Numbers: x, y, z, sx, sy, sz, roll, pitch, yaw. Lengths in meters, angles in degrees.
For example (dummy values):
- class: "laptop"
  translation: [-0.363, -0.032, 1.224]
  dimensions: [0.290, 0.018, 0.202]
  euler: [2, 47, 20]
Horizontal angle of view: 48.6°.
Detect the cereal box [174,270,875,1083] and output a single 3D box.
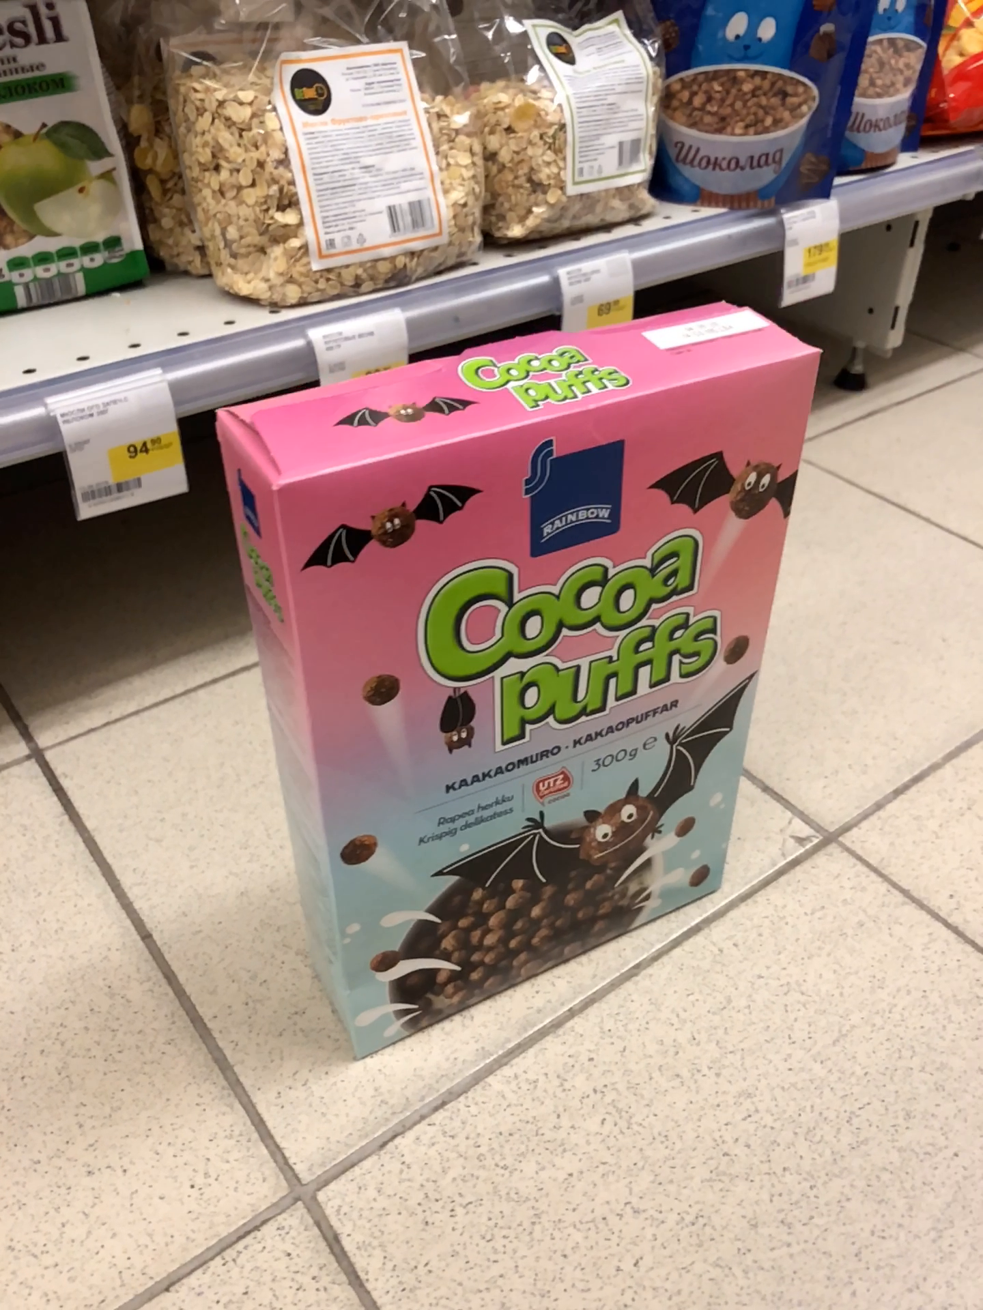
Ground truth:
- class: "cereal box"
  translation: [0.017, 0.016, 0.410]
  dimensions: [0.210, 0.268, 0.060]
  euler: [-19, 41, -22]
